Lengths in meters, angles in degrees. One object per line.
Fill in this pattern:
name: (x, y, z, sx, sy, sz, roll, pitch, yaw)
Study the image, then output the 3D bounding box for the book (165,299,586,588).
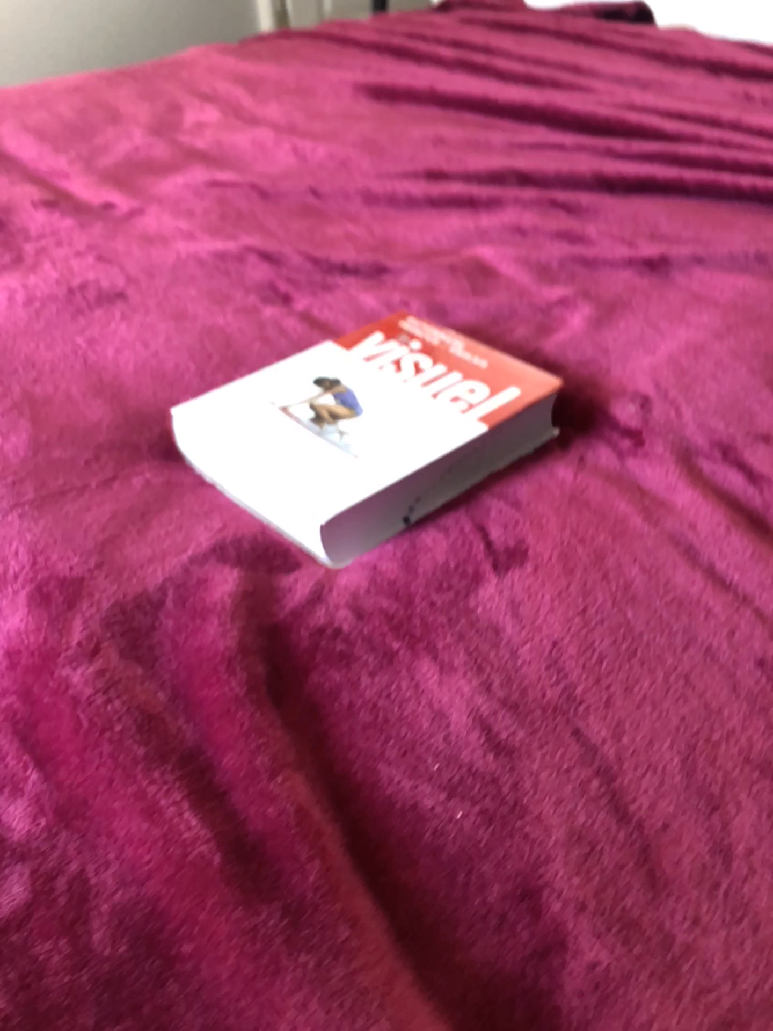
book: (-0.004, -0.052, 0.477, 0.181, 0.039, 0.140, -30, 46, -30)
